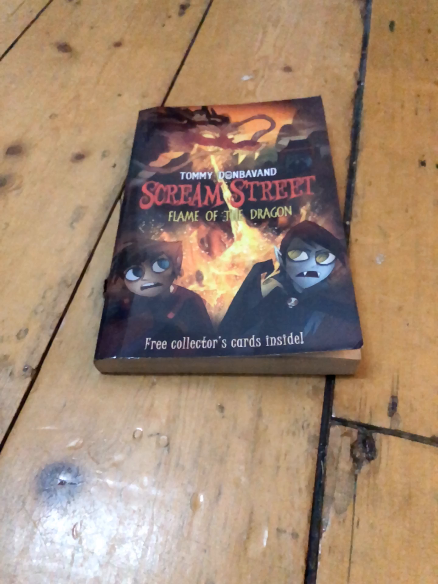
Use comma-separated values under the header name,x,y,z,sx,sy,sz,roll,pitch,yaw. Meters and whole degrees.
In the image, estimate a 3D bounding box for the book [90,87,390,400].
name,x,y,z,sx,sy,sz,roll,pitch,yaw
book,0.010,-0.040,0.284,0.130,0.040,0.201,-1,56,2
